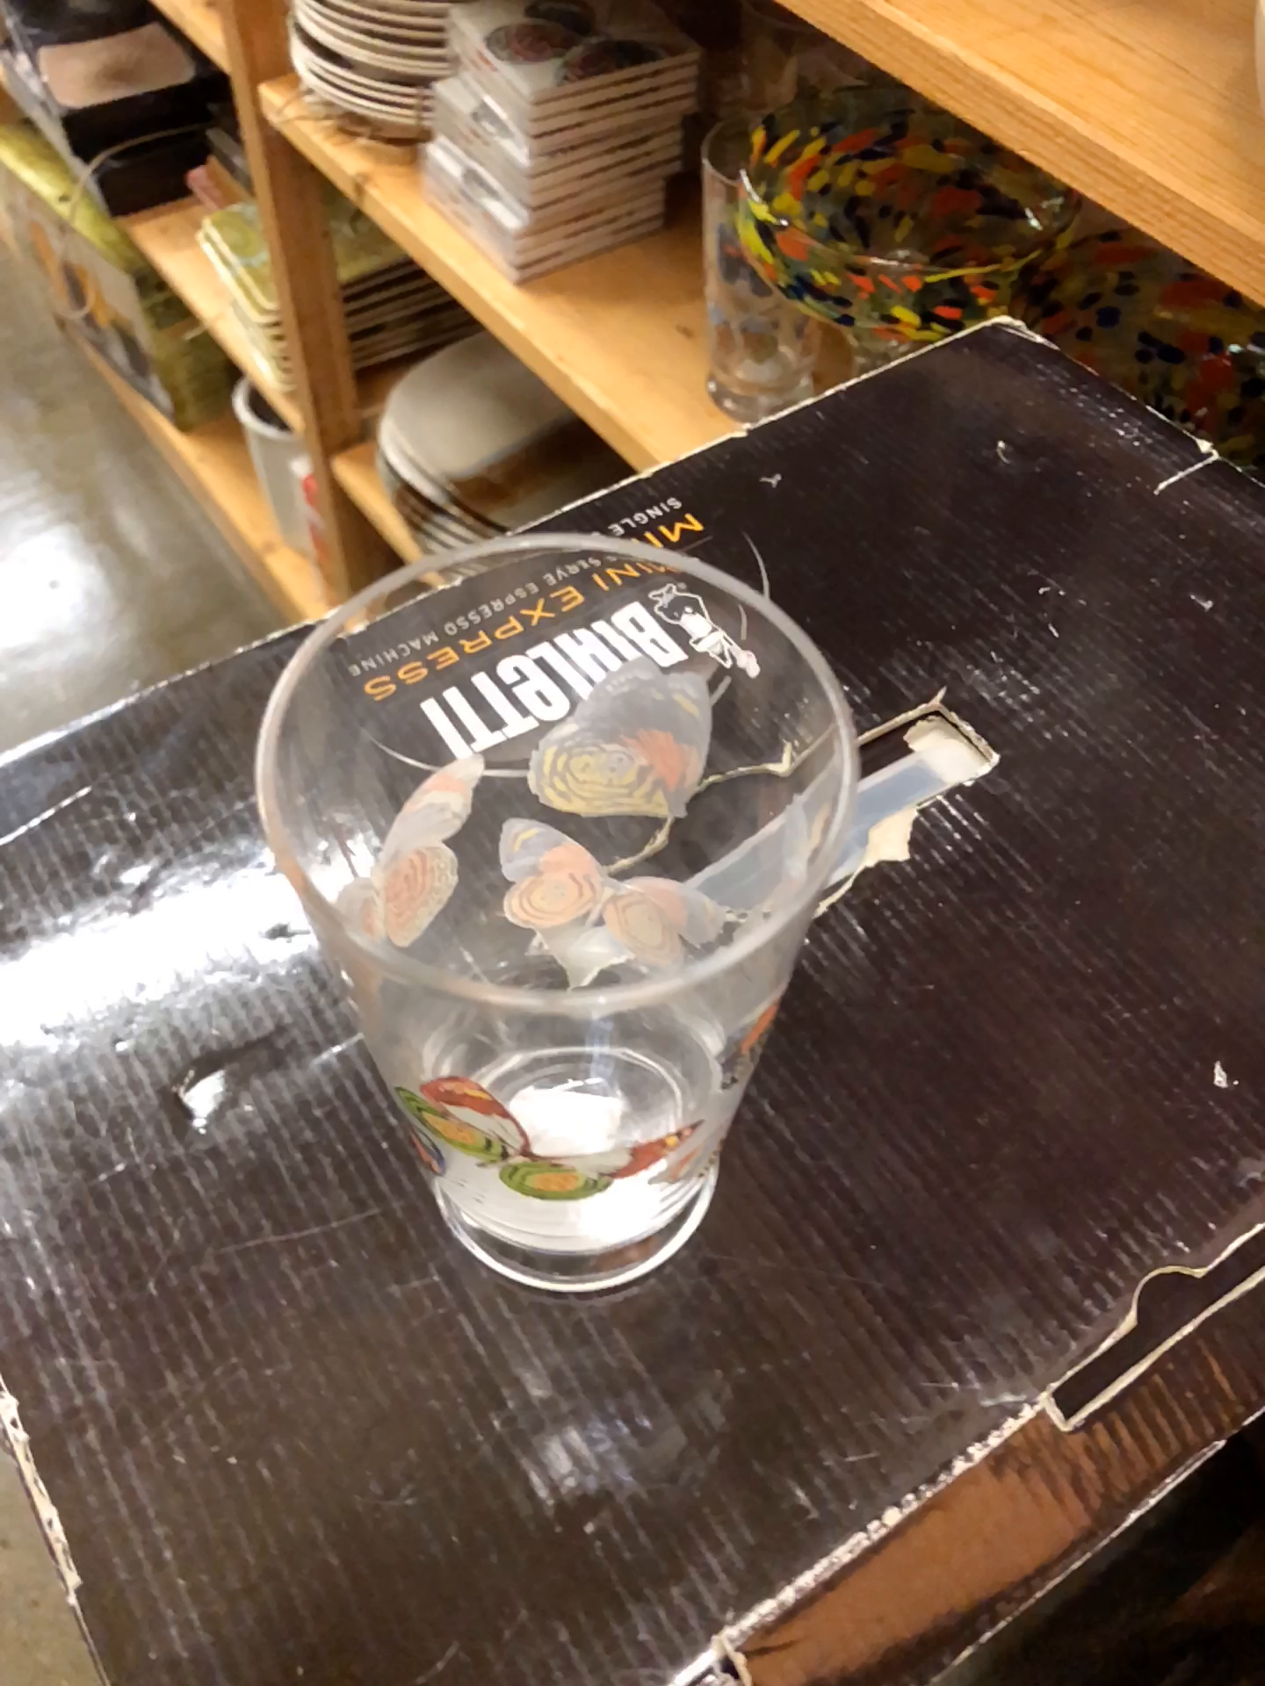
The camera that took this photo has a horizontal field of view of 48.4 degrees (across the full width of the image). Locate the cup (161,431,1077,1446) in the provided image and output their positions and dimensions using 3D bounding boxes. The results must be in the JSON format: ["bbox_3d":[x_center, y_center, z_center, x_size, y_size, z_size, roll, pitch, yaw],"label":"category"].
[{"bbox_3d":[-0.004,0.022,0.214,0.079,0.125,0.075,0,55,0],"label":"cup"}]
